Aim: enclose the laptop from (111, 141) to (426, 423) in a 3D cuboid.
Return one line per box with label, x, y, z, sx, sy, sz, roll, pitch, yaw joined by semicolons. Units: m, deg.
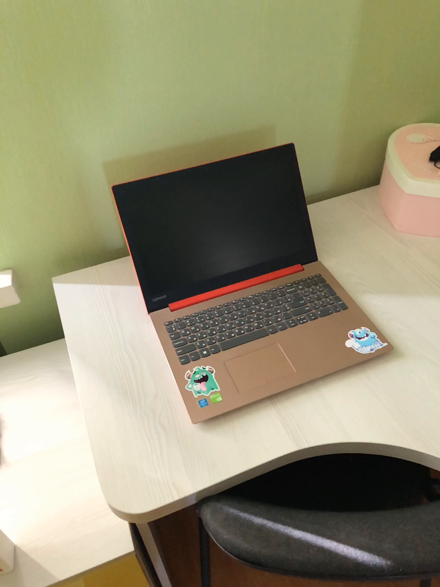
laptop;0.054;-0.053;0.862;0.375;0.198;0.403;-17;47;-14
